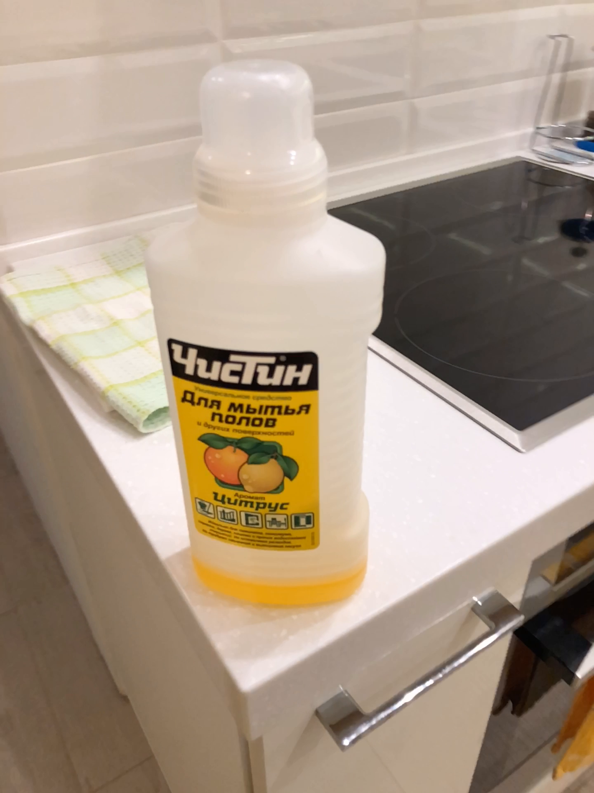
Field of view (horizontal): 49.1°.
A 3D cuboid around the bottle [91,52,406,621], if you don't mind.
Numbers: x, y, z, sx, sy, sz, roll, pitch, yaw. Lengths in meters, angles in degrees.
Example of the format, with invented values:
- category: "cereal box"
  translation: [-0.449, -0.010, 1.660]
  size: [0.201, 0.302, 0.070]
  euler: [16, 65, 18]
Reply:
- category: "bottle"
  translation: [-0.010, -0.010, 0.307]
  size: [0.102, 0.264, 0.062]
  euler: [4, 35, 8]
